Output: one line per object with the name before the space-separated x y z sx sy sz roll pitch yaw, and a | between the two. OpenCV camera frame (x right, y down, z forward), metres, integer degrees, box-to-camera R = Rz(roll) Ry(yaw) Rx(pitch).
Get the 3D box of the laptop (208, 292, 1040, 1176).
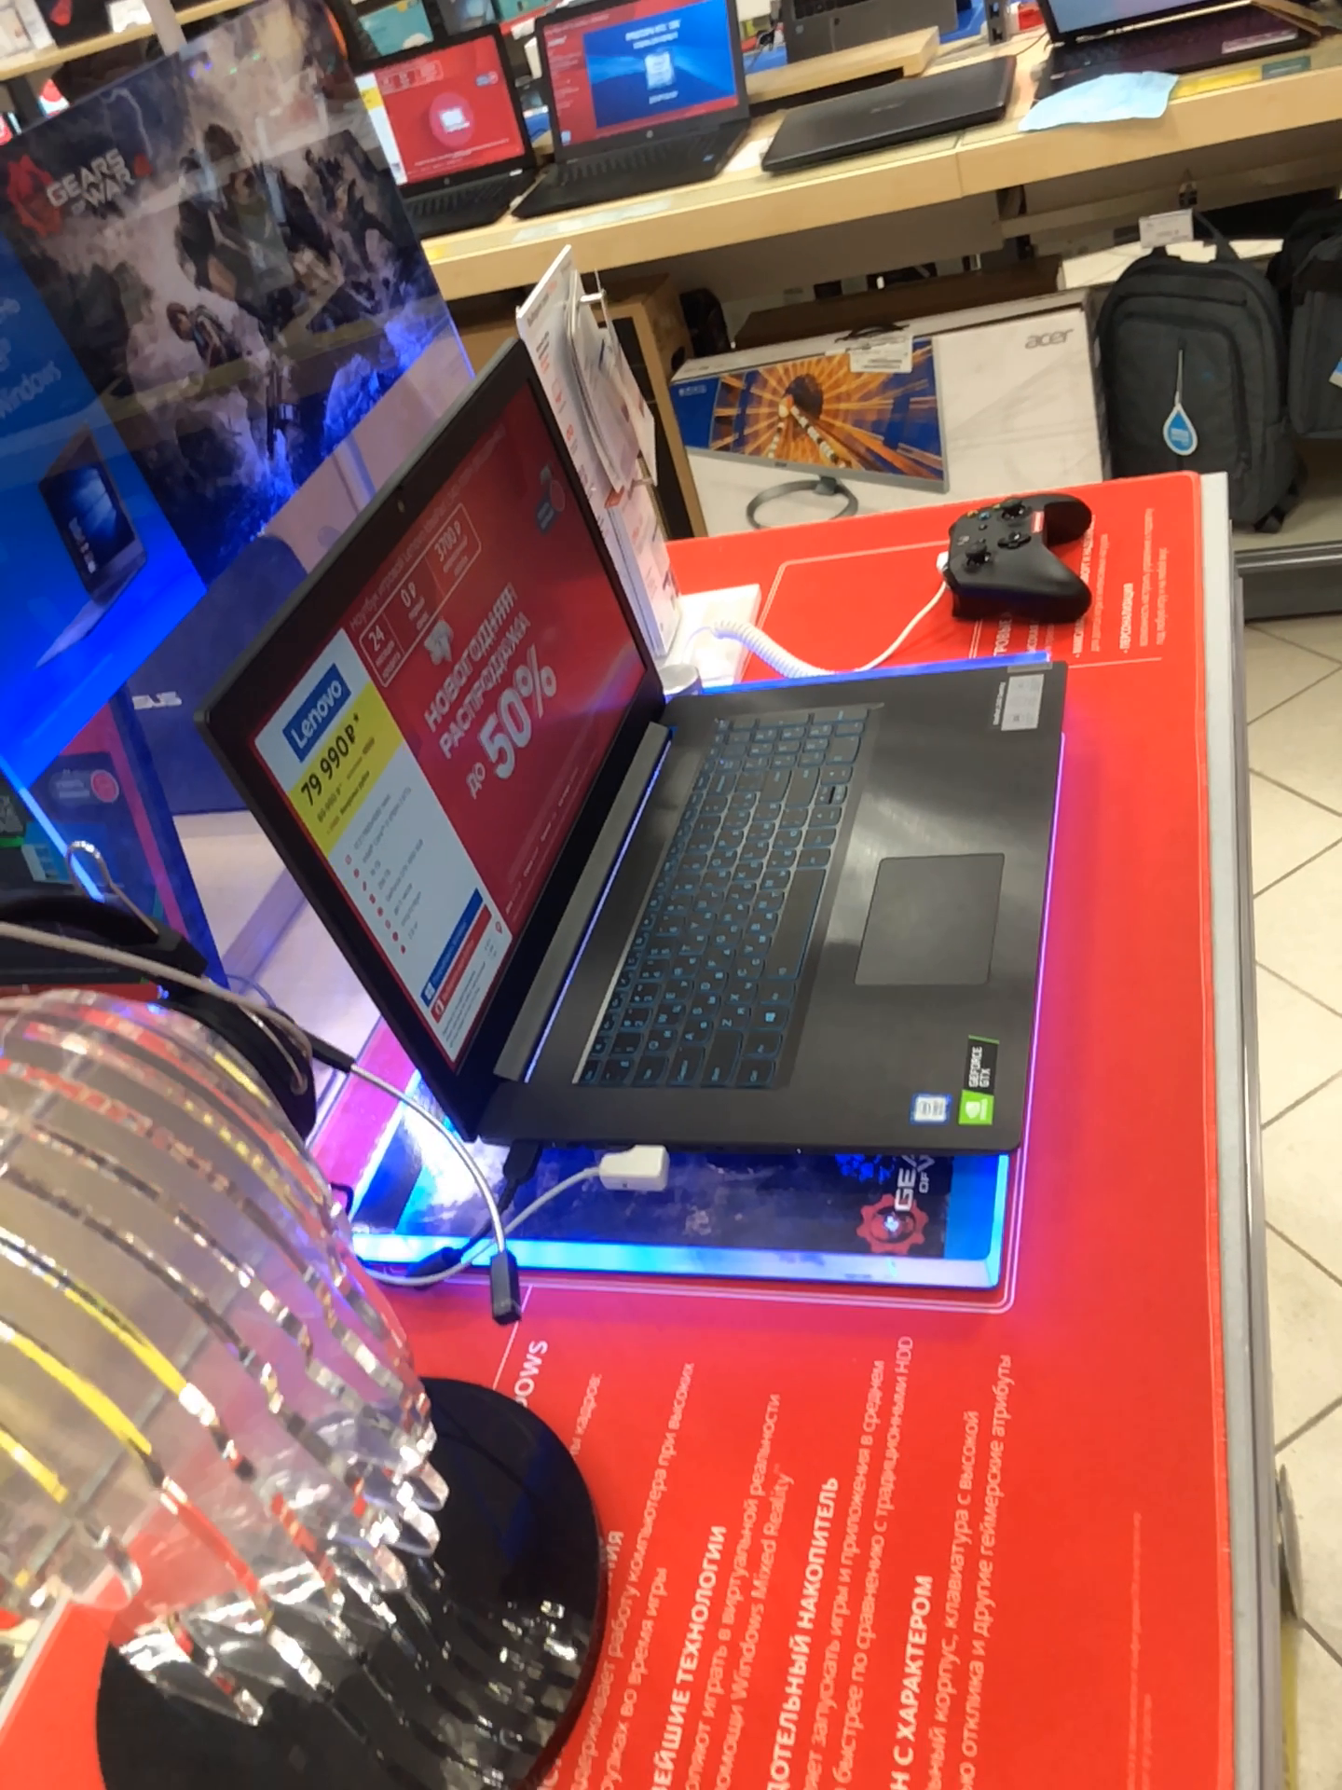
laptop | 0.021 -0.108 0.799 0.295 0.255 0.405 -1 40 20
